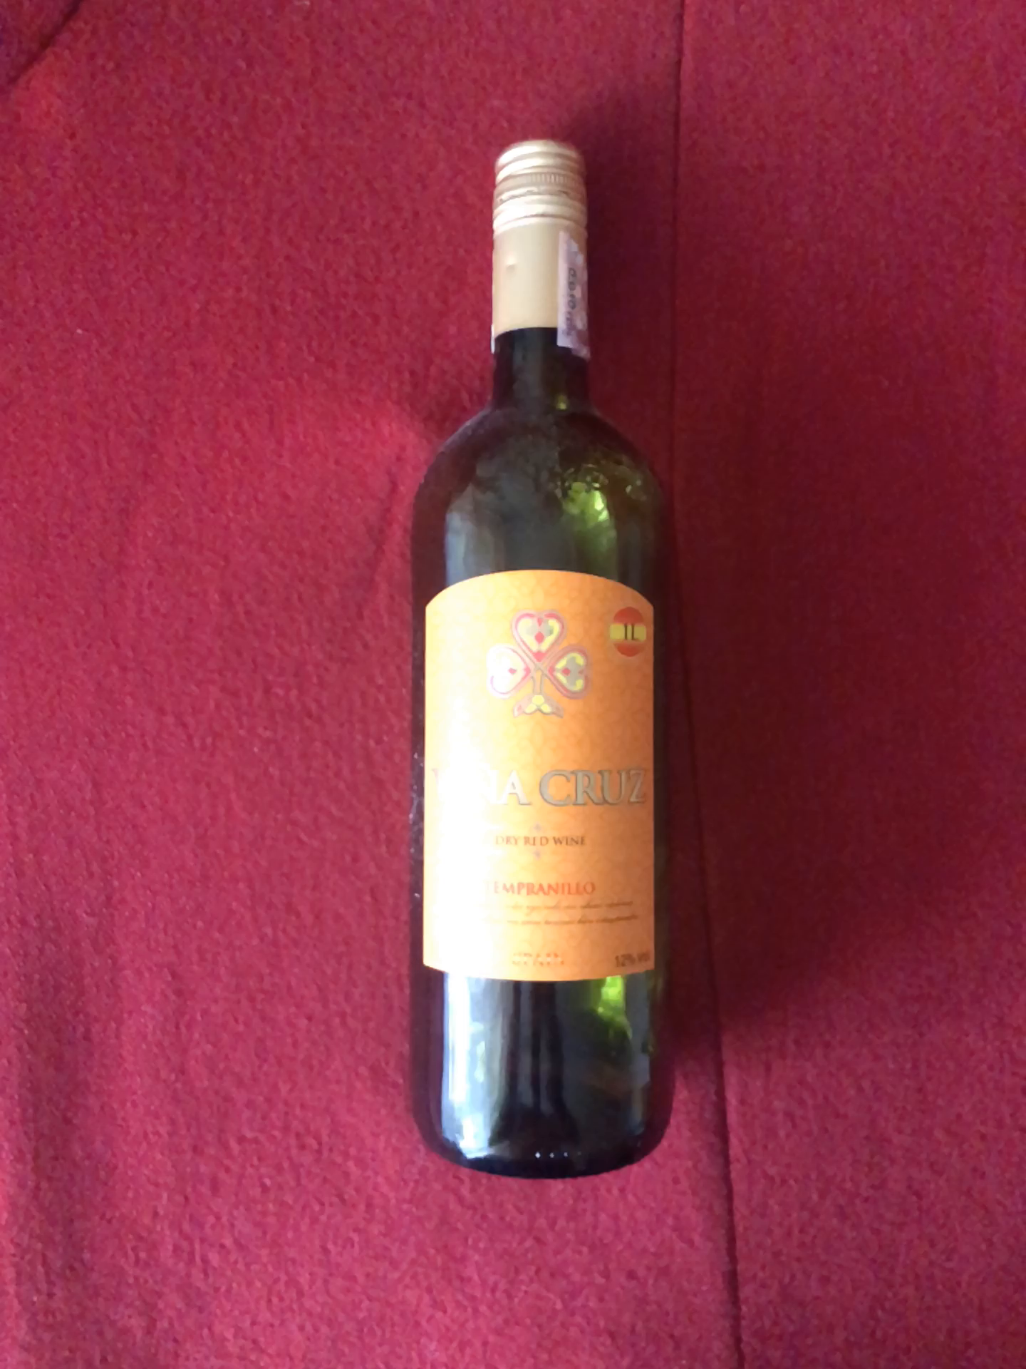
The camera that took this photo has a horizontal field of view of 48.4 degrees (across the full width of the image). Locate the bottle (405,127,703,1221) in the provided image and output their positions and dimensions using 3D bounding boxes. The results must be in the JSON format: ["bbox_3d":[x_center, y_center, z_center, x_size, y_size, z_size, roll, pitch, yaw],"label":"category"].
[{"bbox_3d":[0.011,-0.004,0.349,0.080,0.070,0.300,0,89,0],"label":"bottle"}]
